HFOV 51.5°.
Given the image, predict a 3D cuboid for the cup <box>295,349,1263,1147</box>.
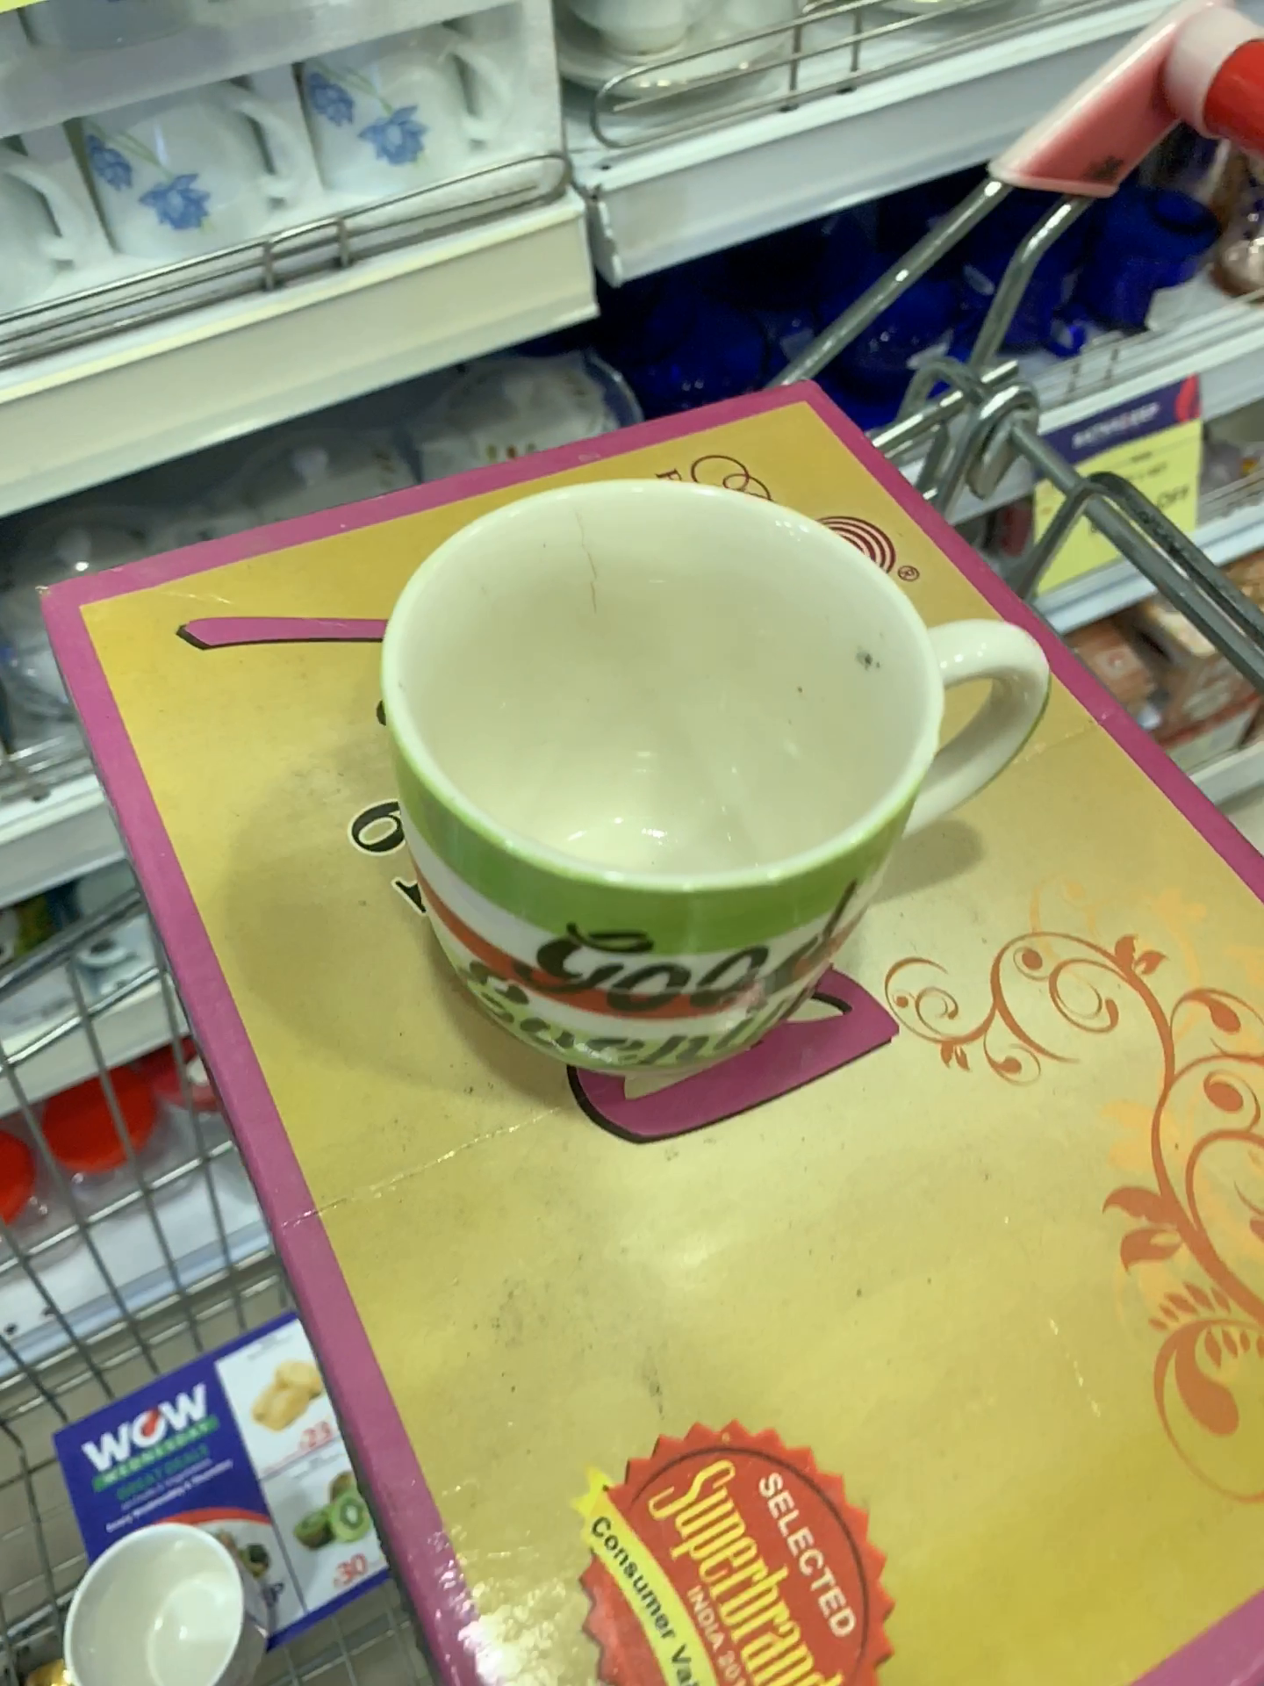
[{"bbox_3d":[0.016,-0.019,0.203,0.110,0.060,0.080,-16,53,-14],"label":"cup"}]
